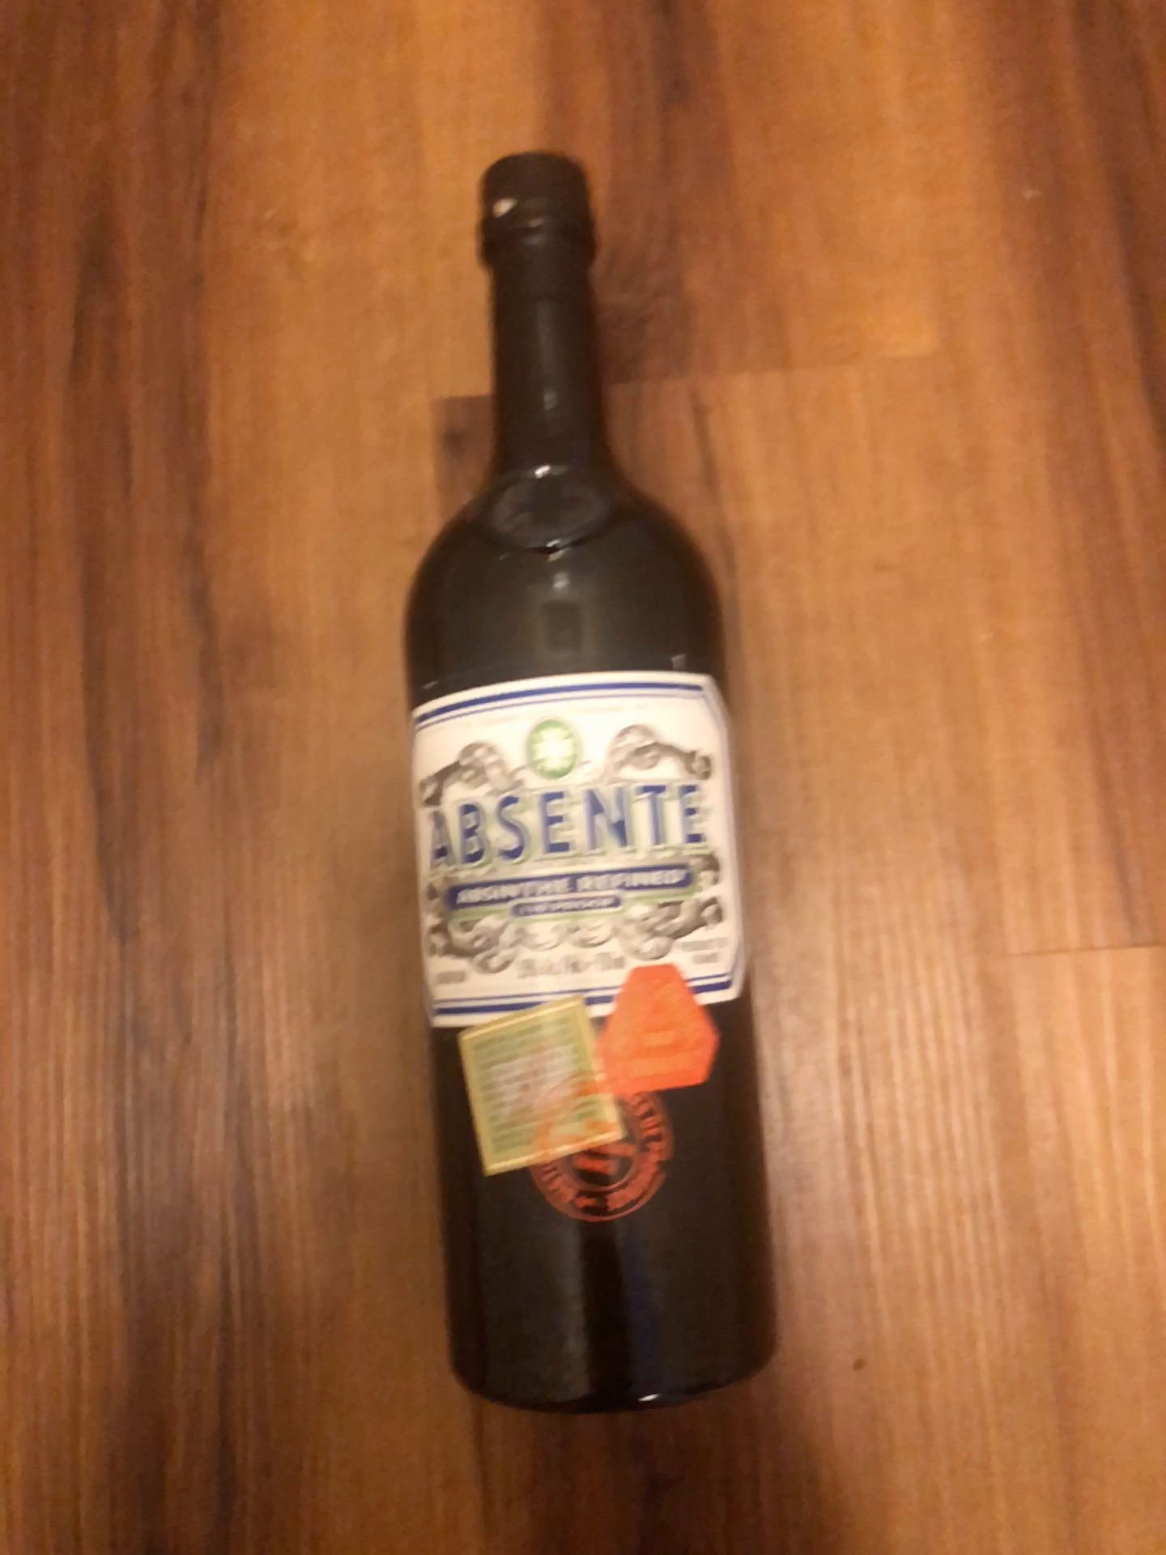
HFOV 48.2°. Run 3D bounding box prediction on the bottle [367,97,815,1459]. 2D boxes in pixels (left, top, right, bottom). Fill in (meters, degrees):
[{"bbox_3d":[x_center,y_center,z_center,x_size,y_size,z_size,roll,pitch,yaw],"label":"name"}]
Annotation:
[{"bbox_3d":[0.000,-0.006,0.323,0.080,0.070,0.300,-4,81,3],"label":"bottle"}]
